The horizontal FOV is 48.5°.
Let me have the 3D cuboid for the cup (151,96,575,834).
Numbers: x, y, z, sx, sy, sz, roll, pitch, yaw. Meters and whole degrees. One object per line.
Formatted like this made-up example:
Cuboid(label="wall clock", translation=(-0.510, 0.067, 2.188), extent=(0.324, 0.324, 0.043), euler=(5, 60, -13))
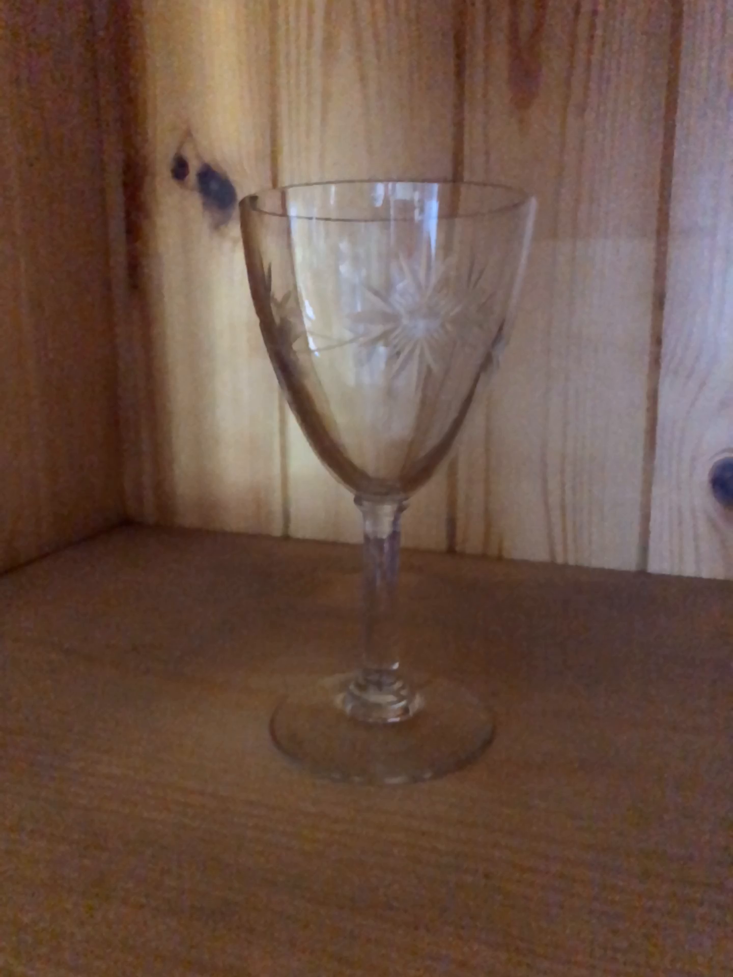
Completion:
Cuboid(label="cup", translation=(0.002, -0.008, 0.199), extent=(0.070, 0.140, 0.070), euler=(0, 12, 0))
